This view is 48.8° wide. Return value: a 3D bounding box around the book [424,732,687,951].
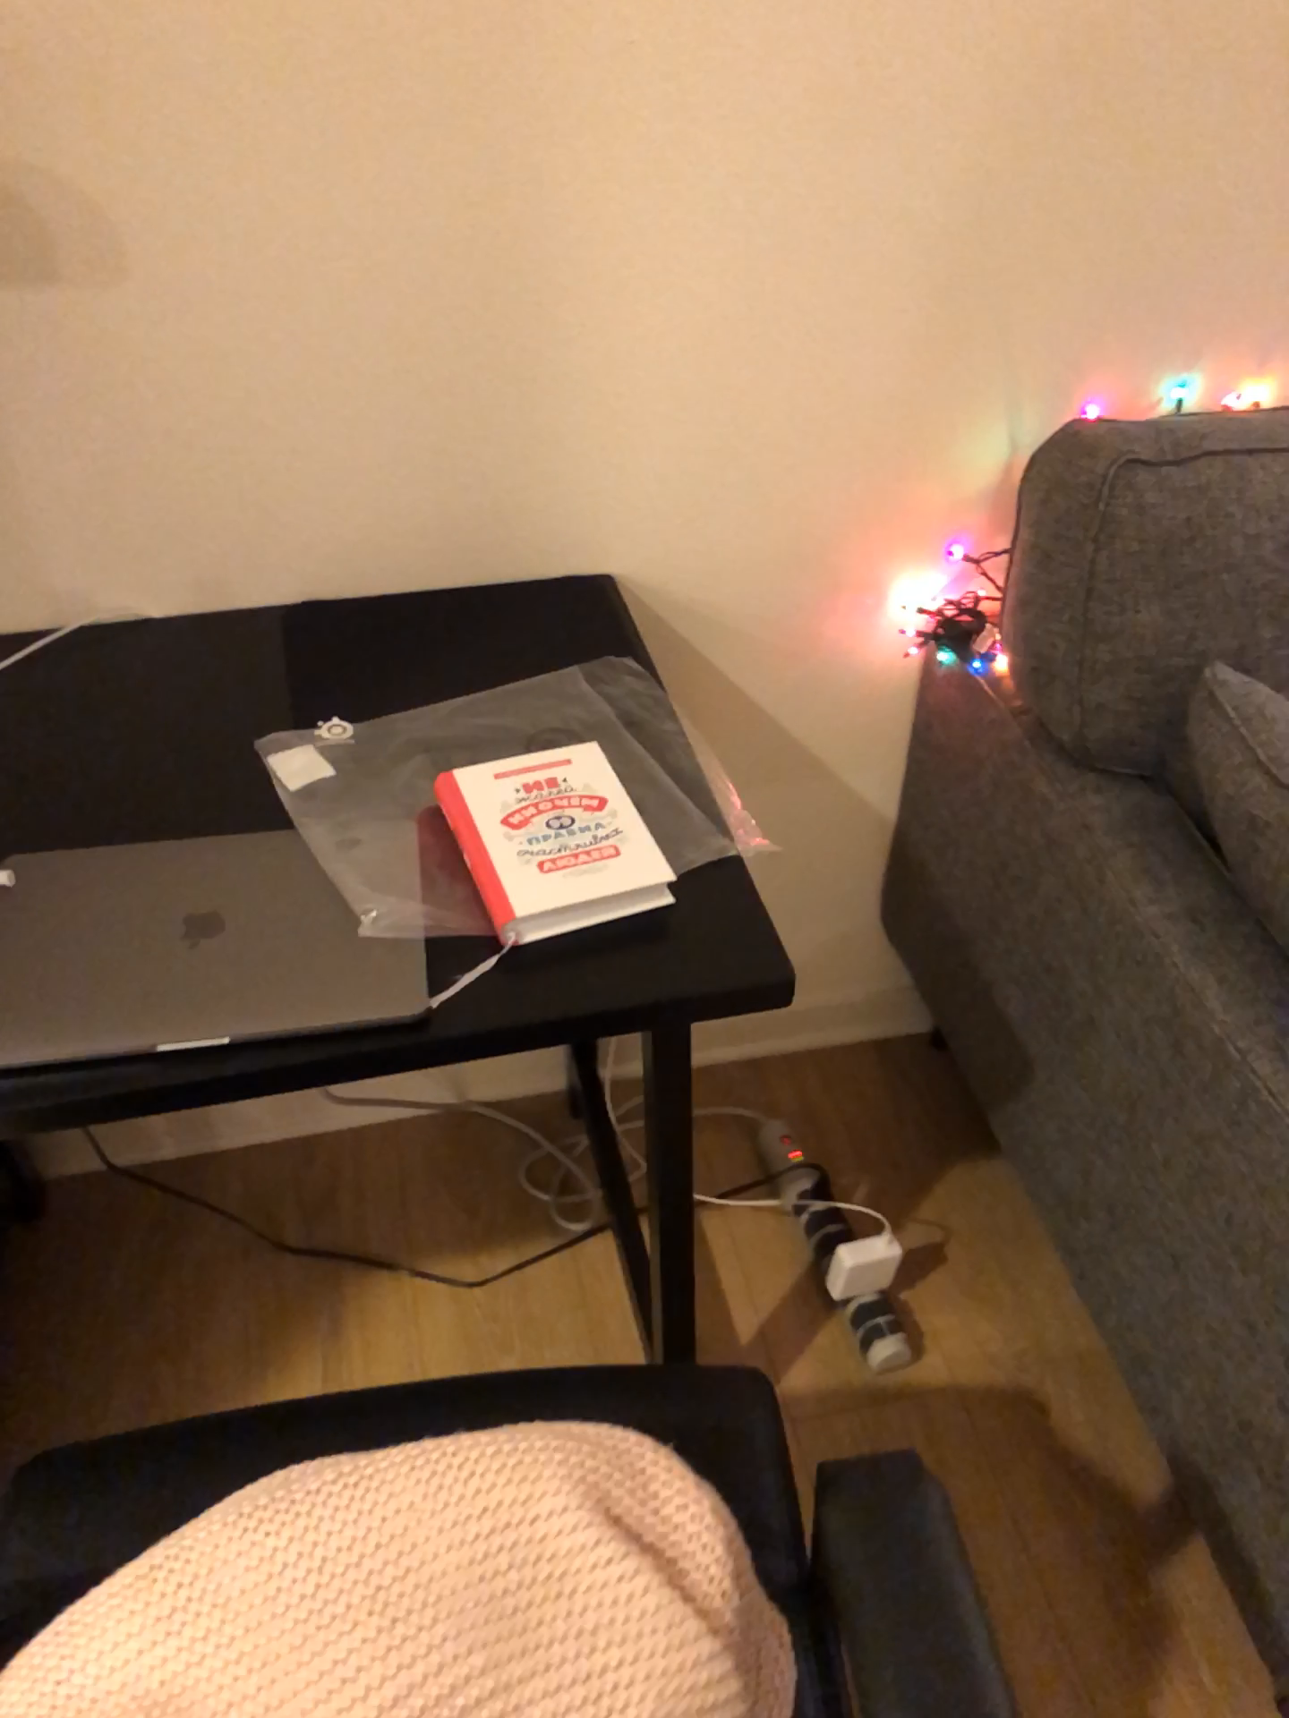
[{"bbox_3d":[-0.071,-0.020,1.075,0.140,0.030,0.191,-14,42,-19],"label":"book"}]
